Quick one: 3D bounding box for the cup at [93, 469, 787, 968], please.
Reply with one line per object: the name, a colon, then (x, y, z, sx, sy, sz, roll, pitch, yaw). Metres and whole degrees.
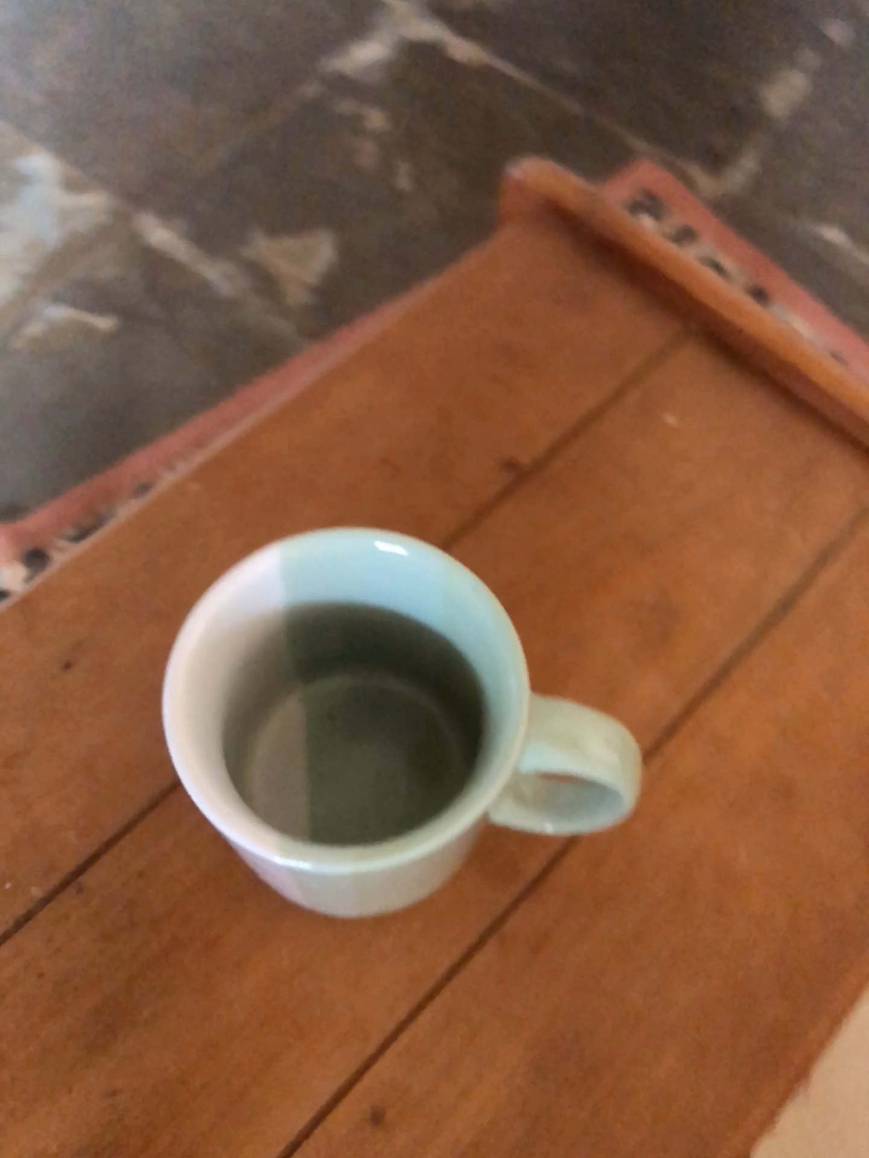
cup: (0.005, 0.040, 0.239, 0.130, 0.090, 0.080, 8, 64, 2)
